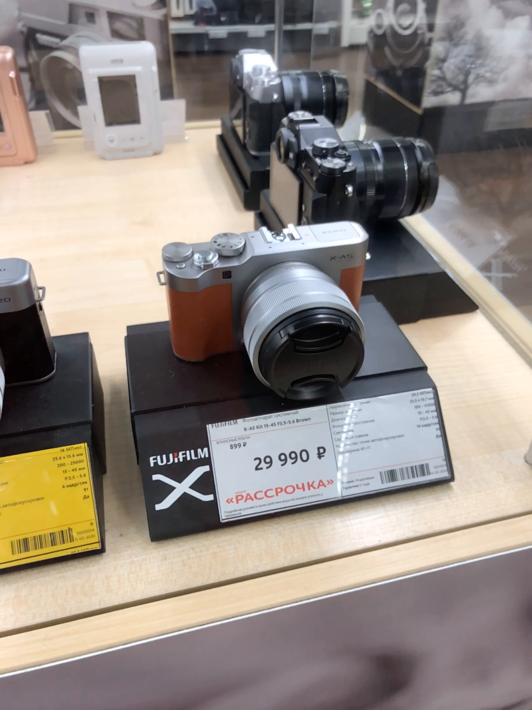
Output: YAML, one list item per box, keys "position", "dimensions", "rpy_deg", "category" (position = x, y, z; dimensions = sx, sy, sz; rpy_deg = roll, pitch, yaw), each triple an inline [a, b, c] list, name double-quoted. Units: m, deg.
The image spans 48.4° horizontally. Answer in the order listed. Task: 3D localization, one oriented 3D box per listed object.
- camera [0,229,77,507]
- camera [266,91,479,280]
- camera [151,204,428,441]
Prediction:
- position: [-0.162, 0.001, 0.287]
  dimensions: [0.121, 0.075, 0.093]
  rpy_deg: [-9, 39, -12]
  category: "camera"
- position: [0.071, -0.137, 0.462]
  dimensions: [0.112, 0.090, 0.131]
  rpy_deg: [-9, 39, -12]
  category: "camera"
- position: [0.006, -0.023, 0.327]
  dimensions: [0.121, 0.075, 0.093]
  rpy_deg: [-9, 39, -12]
  category: "camera"
